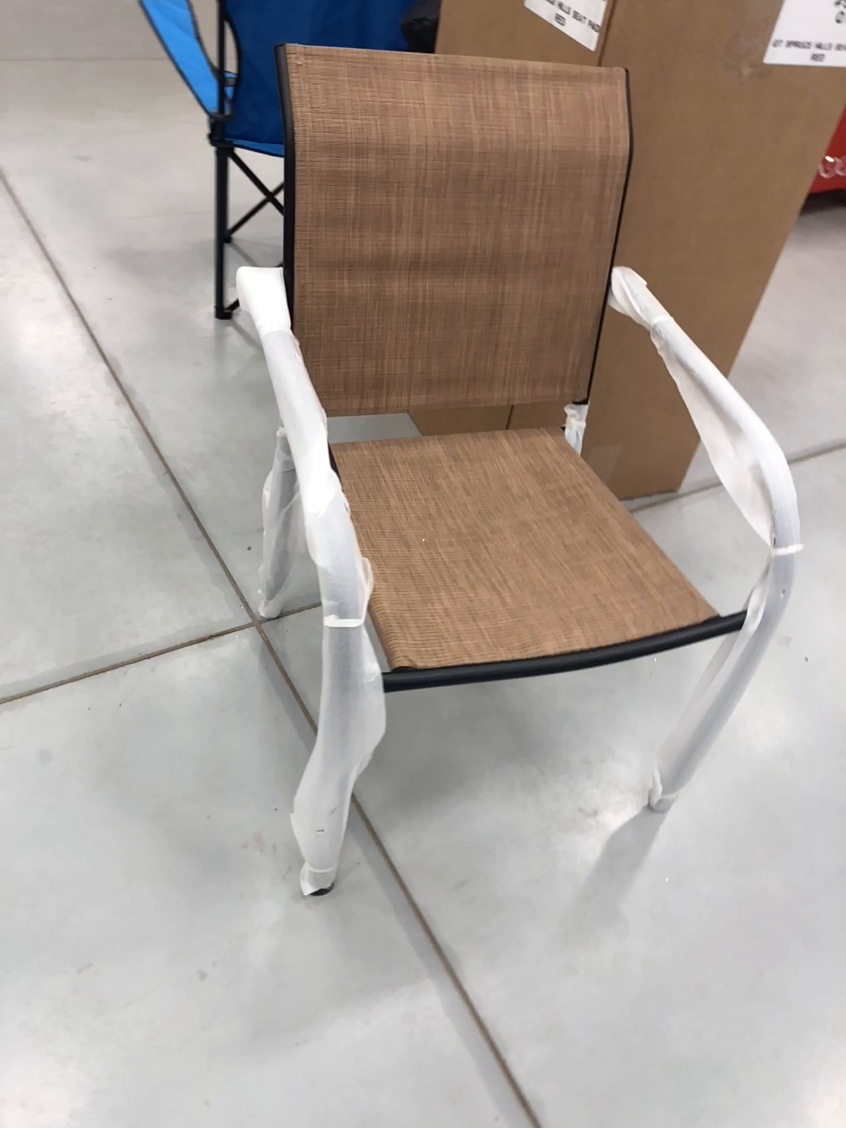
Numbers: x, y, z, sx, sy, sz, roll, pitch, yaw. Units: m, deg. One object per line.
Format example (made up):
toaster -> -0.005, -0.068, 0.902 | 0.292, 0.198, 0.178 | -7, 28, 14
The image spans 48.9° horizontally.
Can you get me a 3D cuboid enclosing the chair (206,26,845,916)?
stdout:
chair -> 0.084, -0.107, 1.235 | 0.621, 0.876, 0.632 | -8, 46, -20
